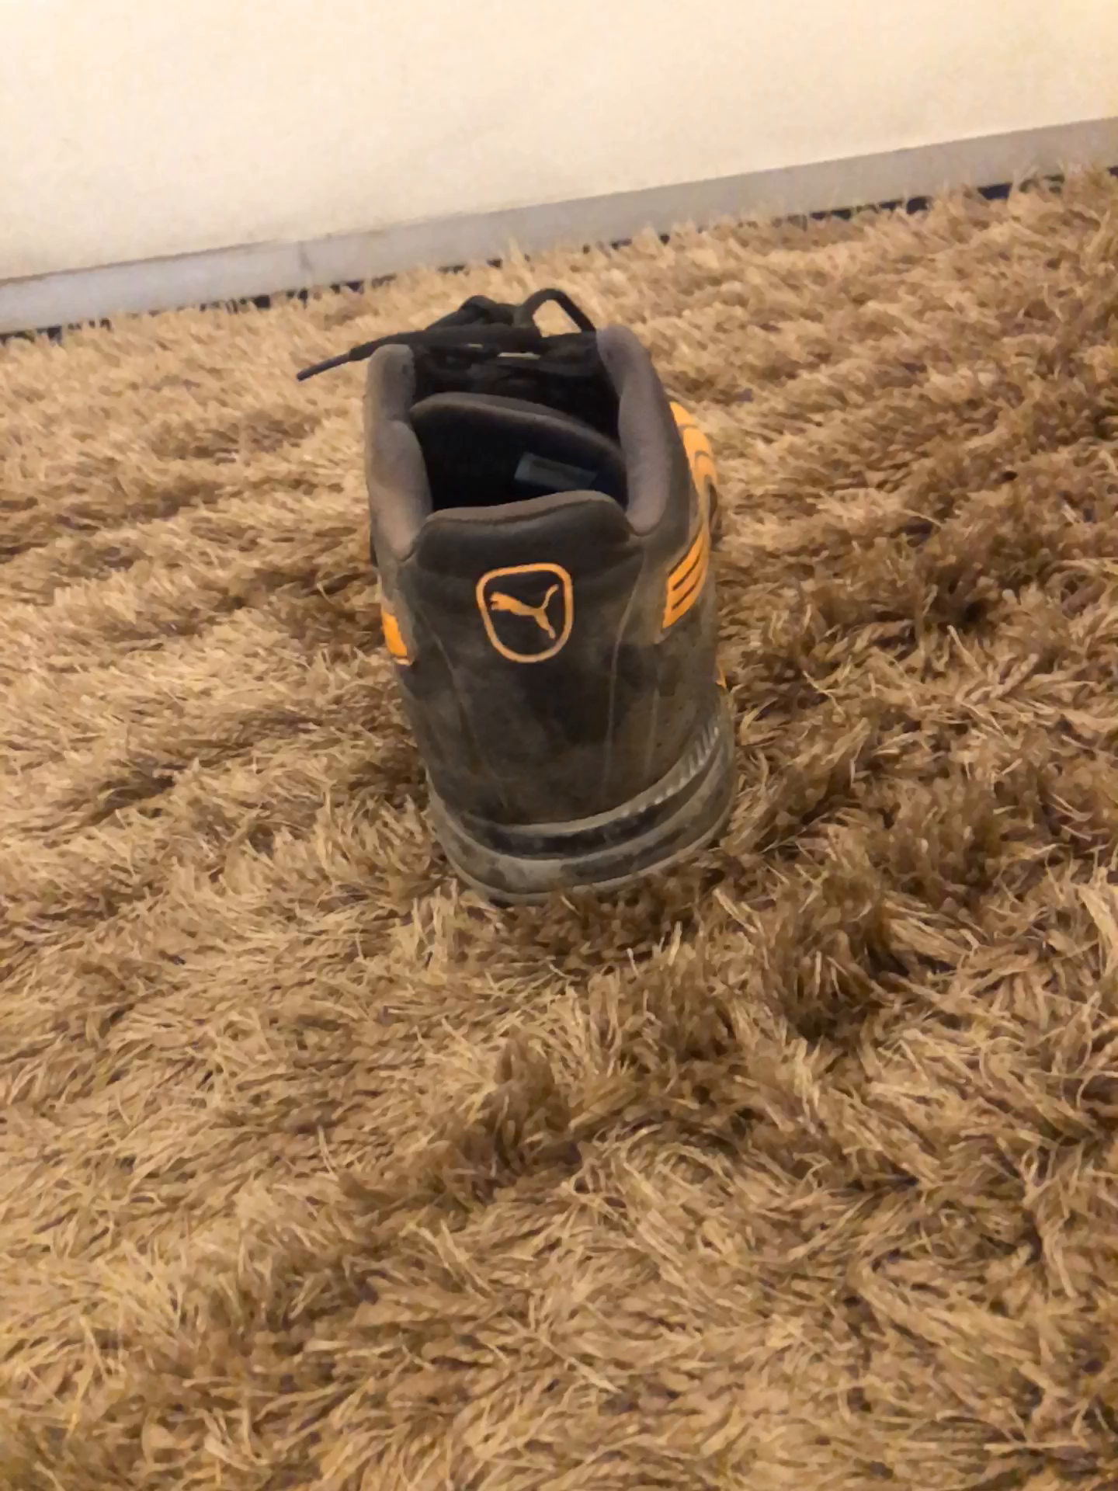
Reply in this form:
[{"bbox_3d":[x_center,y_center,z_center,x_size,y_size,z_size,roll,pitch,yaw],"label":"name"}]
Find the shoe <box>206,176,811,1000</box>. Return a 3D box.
[{"bbox_3d":[-0.012,-0.078,0.400,0.122,0.109,0.302,-6,39,1],"label":"shoe"}]
